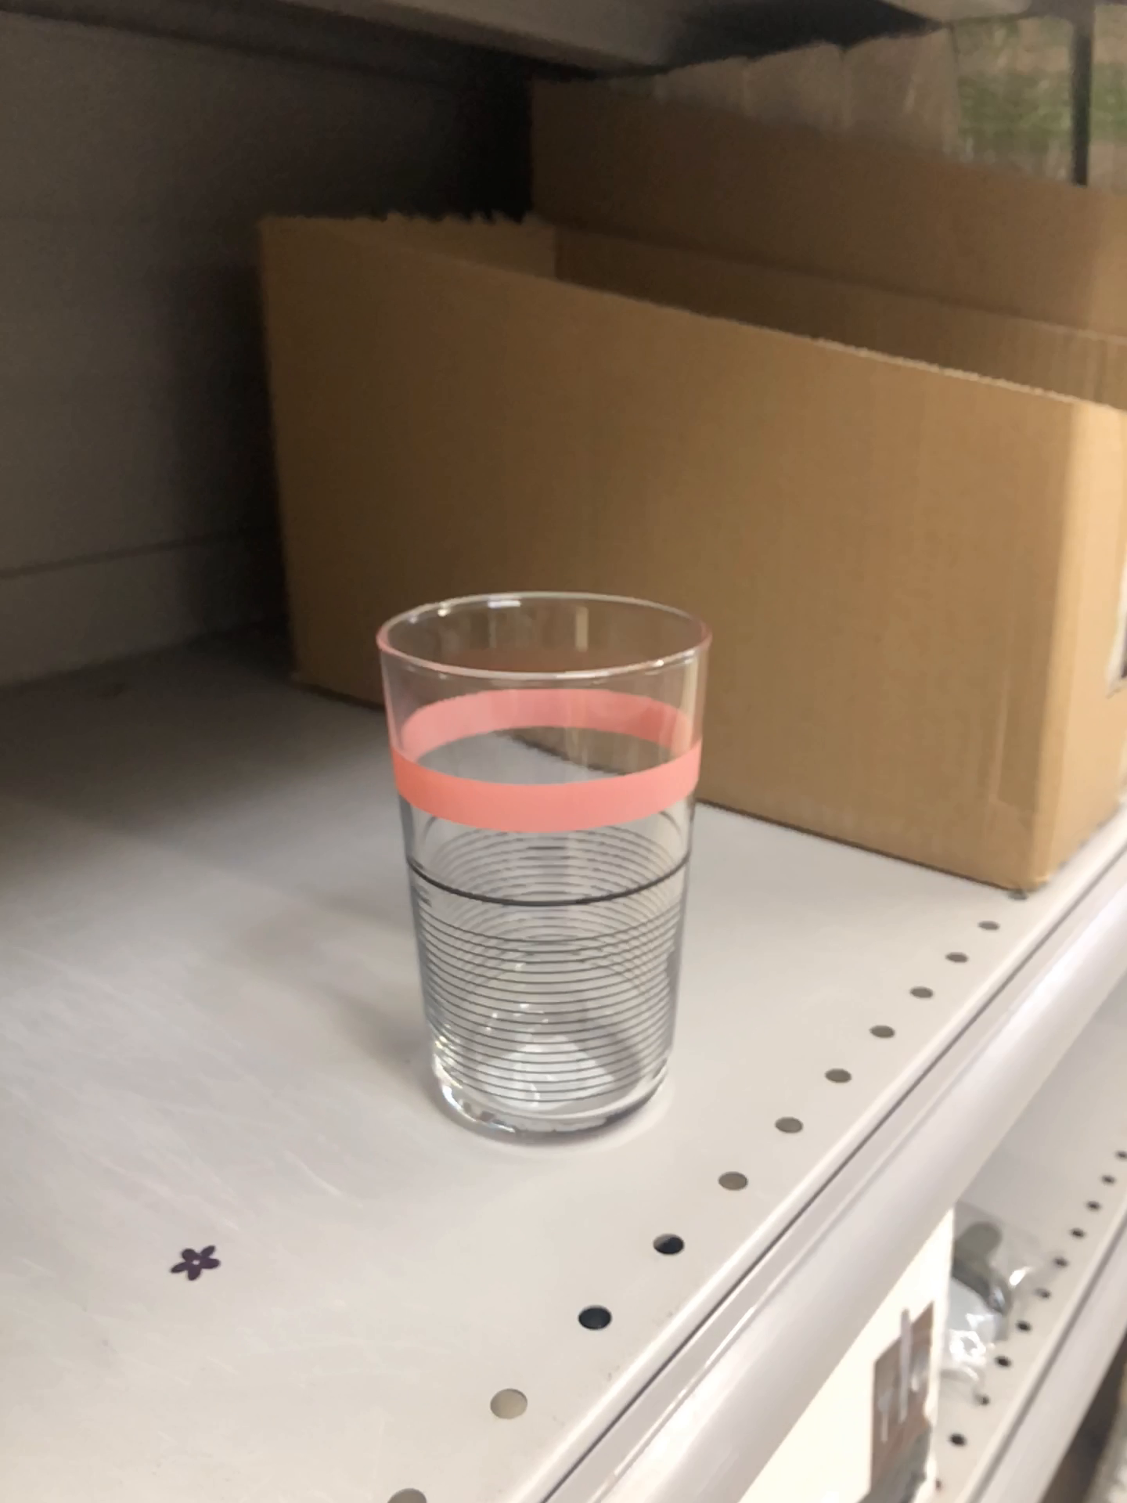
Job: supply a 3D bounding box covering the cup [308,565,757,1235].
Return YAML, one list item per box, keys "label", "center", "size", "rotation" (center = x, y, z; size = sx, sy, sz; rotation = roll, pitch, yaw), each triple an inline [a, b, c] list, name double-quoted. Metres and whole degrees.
- label: "cup"
  center: [-0.010, 0.029, 0.287]
  size: [0.074, 0.123, 0.063]
  rotation: [-10, 24, -27]
